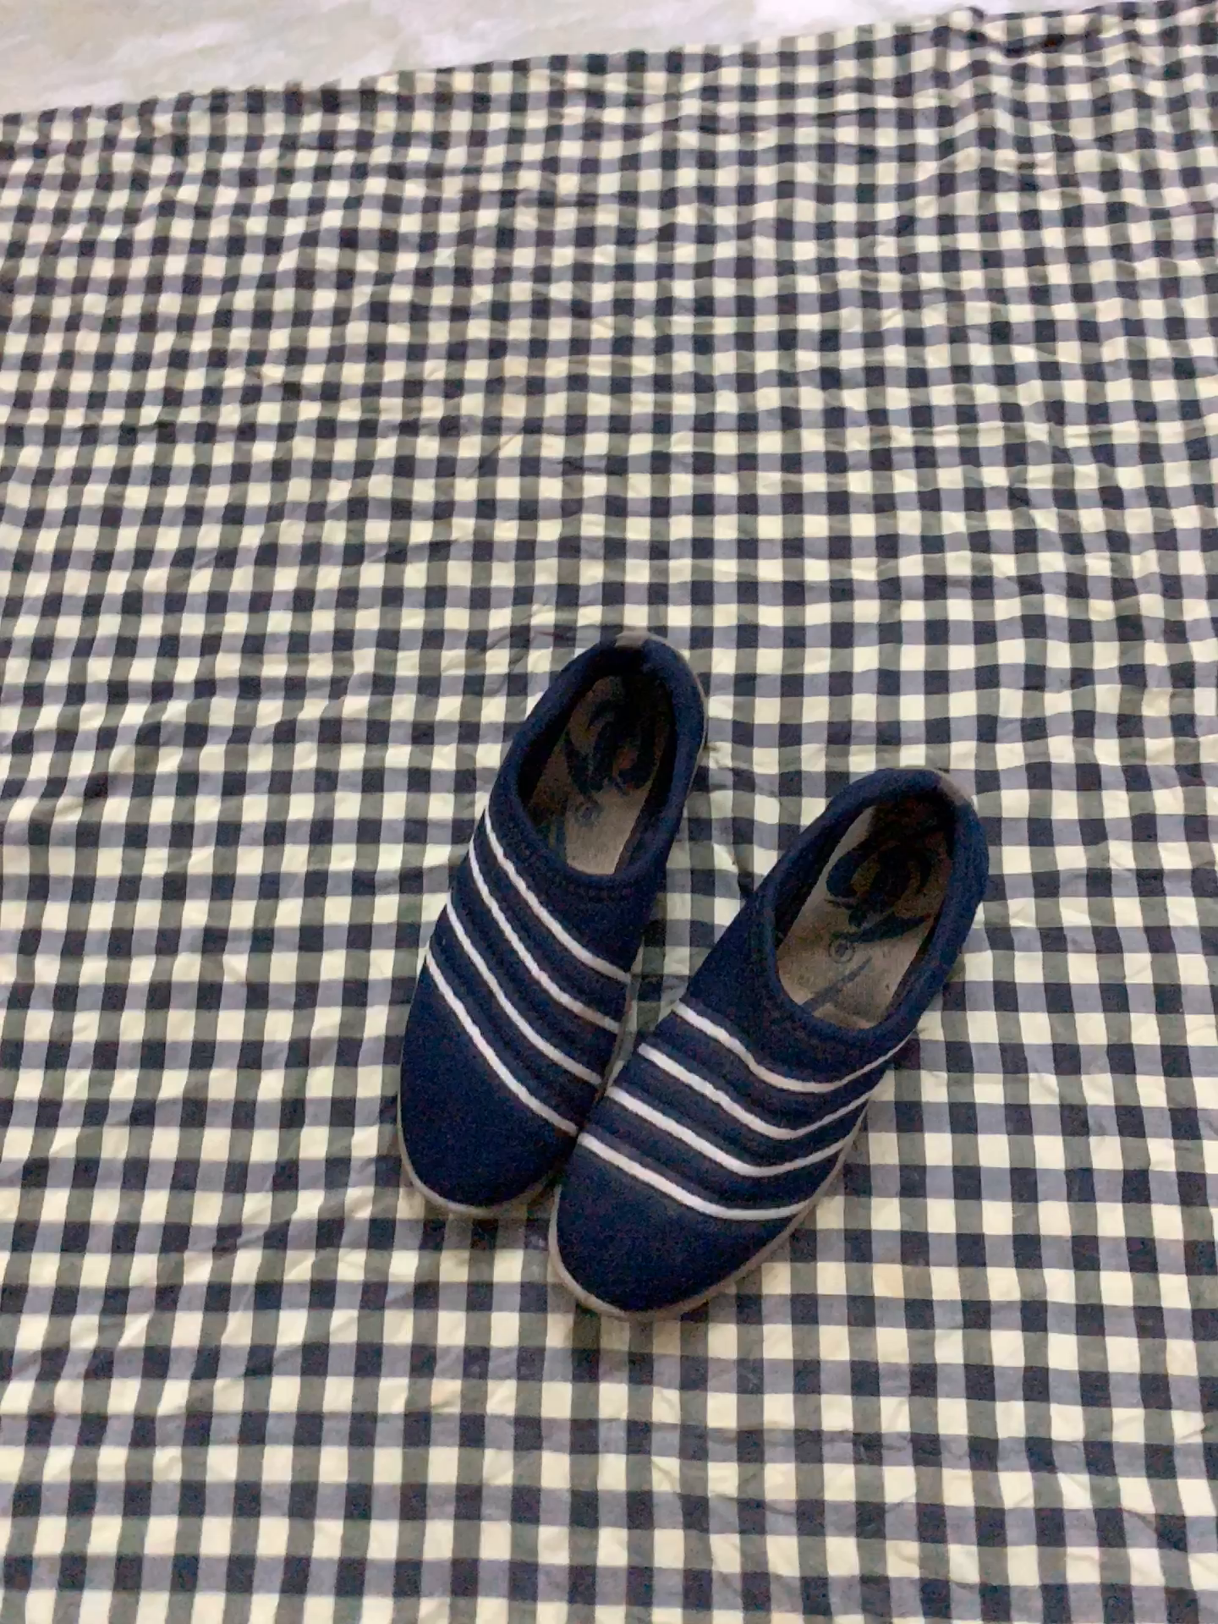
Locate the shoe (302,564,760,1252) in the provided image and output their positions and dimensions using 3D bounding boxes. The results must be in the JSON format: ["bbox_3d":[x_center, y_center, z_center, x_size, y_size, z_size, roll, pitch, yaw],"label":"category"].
[{"bbox_3d":[-0.020,0.038,0.509,0.090,0.090,0.251,17,73,11],"label":"shoe"}]

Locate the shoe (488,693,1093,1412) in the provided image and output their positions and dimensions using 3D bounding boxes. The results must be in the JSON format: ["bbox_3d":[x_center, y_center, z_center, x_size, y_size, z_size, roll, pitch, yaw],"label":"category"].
[{"bbox_3d":[0.073,0.091,0.493,0.090,0.100,0.250,34,77,15],"label":"shoe"}]
